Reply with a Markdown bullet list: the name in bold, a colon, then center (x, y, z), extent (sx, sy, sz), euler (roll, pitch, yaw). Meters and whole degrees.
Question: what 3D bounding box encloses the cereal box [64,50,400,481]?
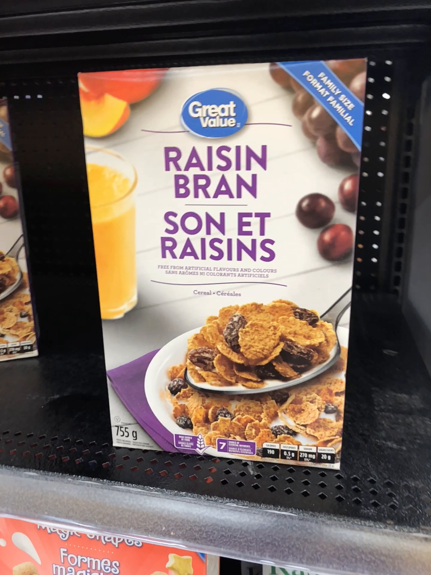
- **cereal box**: center (0.012, -0.010, 0.373), extent (0.210, 0.299, 0.070), euler (2, 17, 9)
